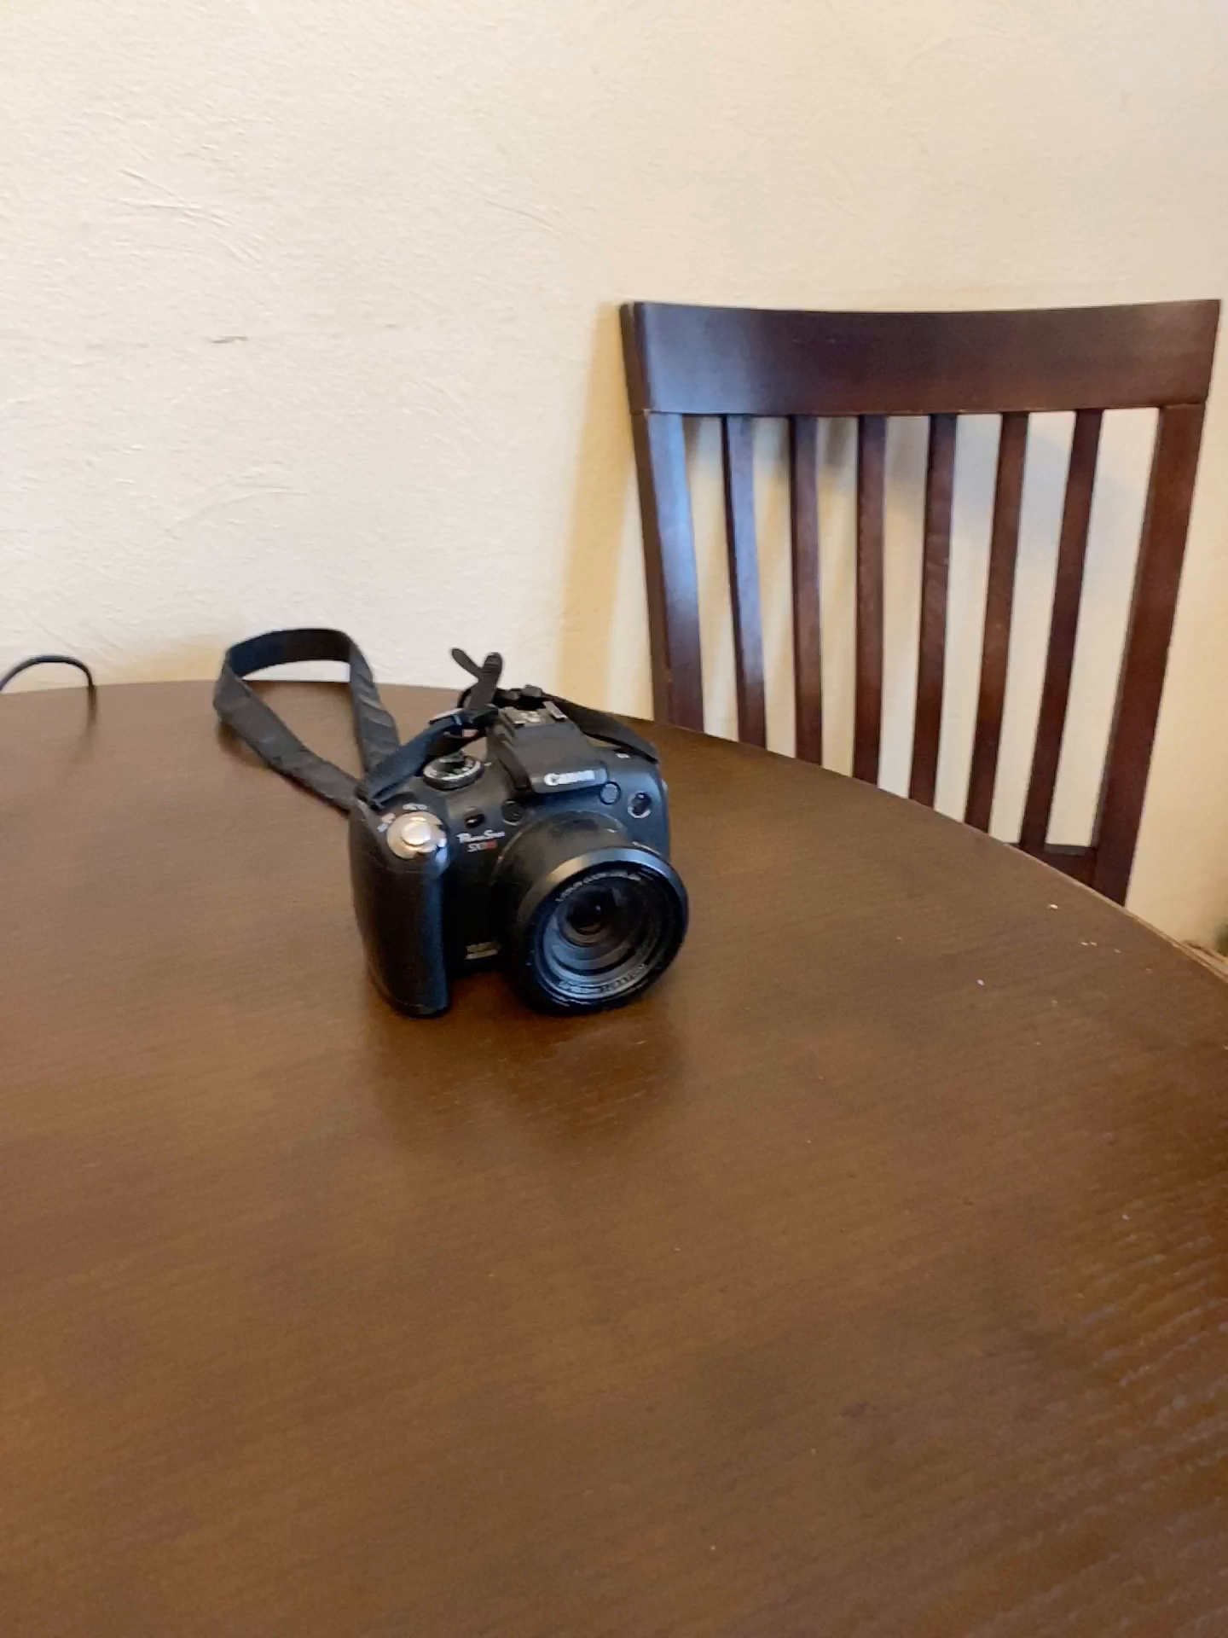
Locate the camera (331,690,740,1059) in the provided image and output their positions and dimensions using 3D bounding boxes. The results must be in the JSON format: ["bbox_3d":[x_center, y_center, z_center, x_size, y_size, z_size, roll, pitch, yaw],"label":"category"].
[{"bbox_3d":[-0.031,0.015,0.455,0.123,0.088,0.082,-8,28,-19],"label":"camera"}]
